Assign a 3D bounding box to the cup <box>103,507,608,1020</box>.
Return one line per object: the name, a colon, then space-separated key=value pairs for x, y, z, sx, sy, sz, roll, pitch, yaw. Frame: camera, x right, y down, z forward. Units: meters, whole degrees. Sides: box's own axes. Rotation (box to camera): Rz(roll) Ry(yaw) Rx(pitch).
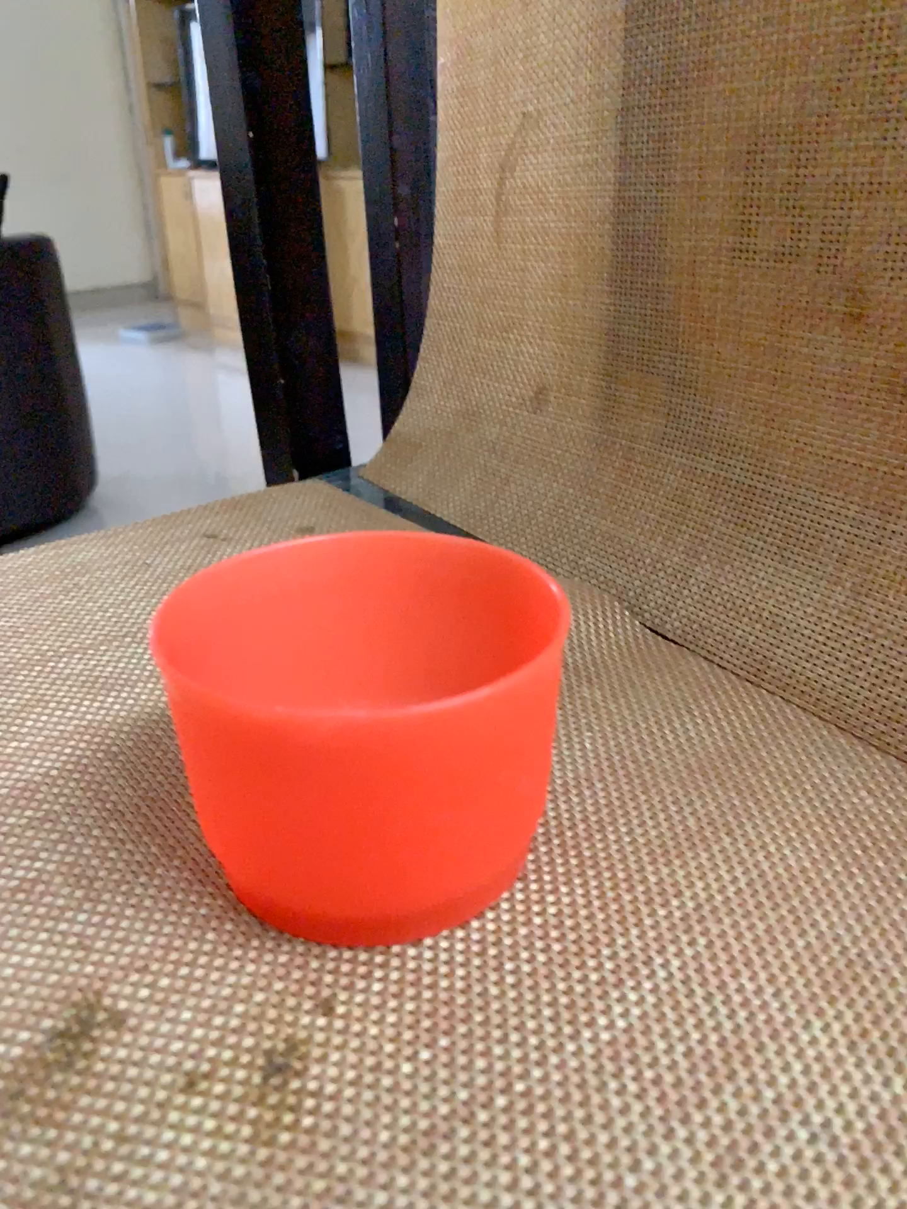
cup: x=-0.021 y=0.021 z=0.178 sx=0.070 sy=0.050 sz=0.070 roll=-1 pitch=26 yaw=0
